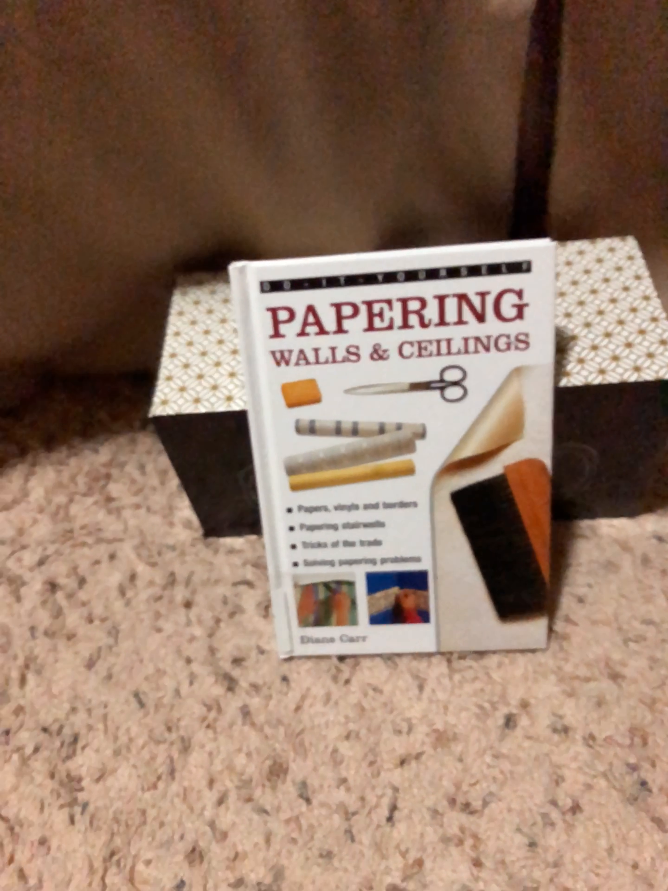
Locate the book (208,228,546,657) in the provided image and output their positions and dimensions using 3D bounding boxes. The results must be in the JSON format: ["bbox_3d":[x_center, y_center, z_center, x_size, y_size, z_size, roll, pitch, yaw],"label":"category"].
[{"bbox_3d":[0.026,0.009,0.360,0.143,0.207,0.015,-3,21,5],"label":"book"}]
